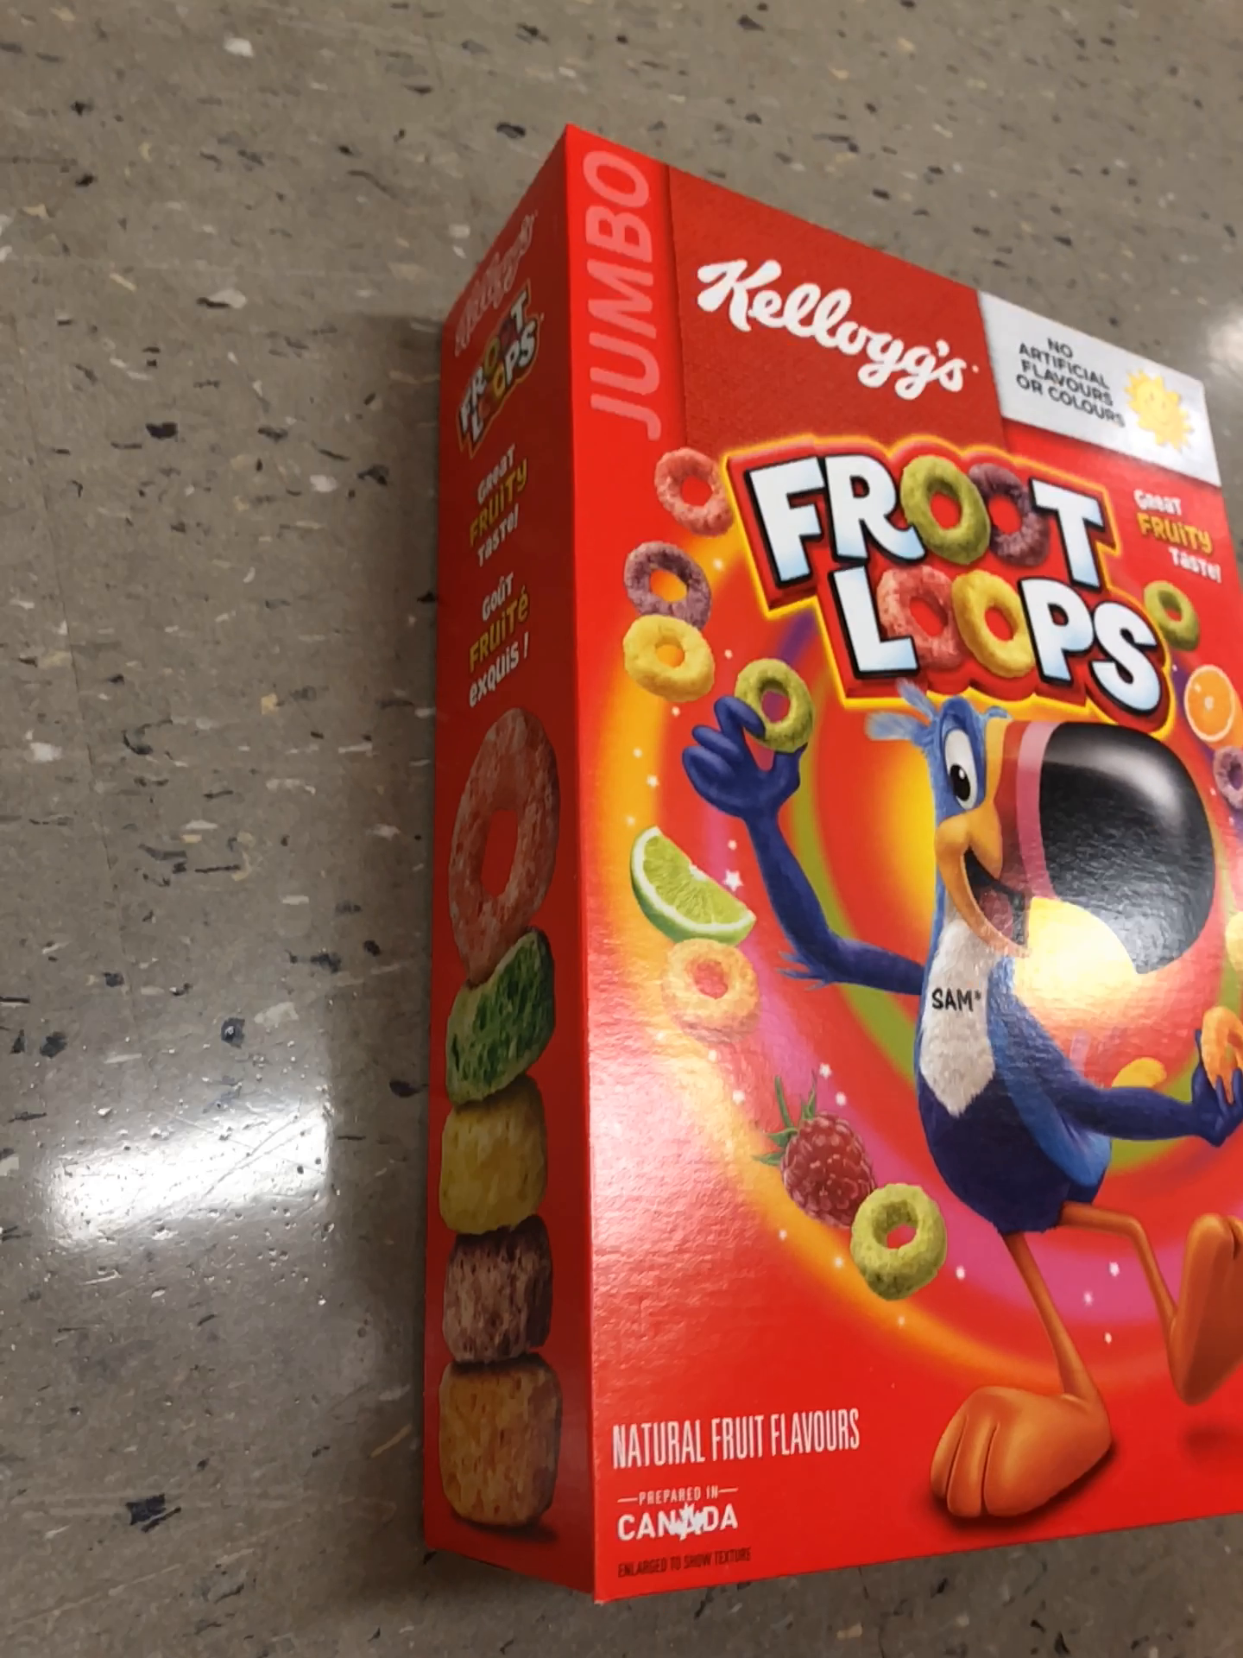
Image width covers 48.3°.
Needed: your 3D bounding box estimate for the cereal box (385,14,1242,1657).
[{"bbox_3d":[0.088,0.001,0.367,0.271,0.080,0.360,10,66,-26],"label":"cereal box"}]
